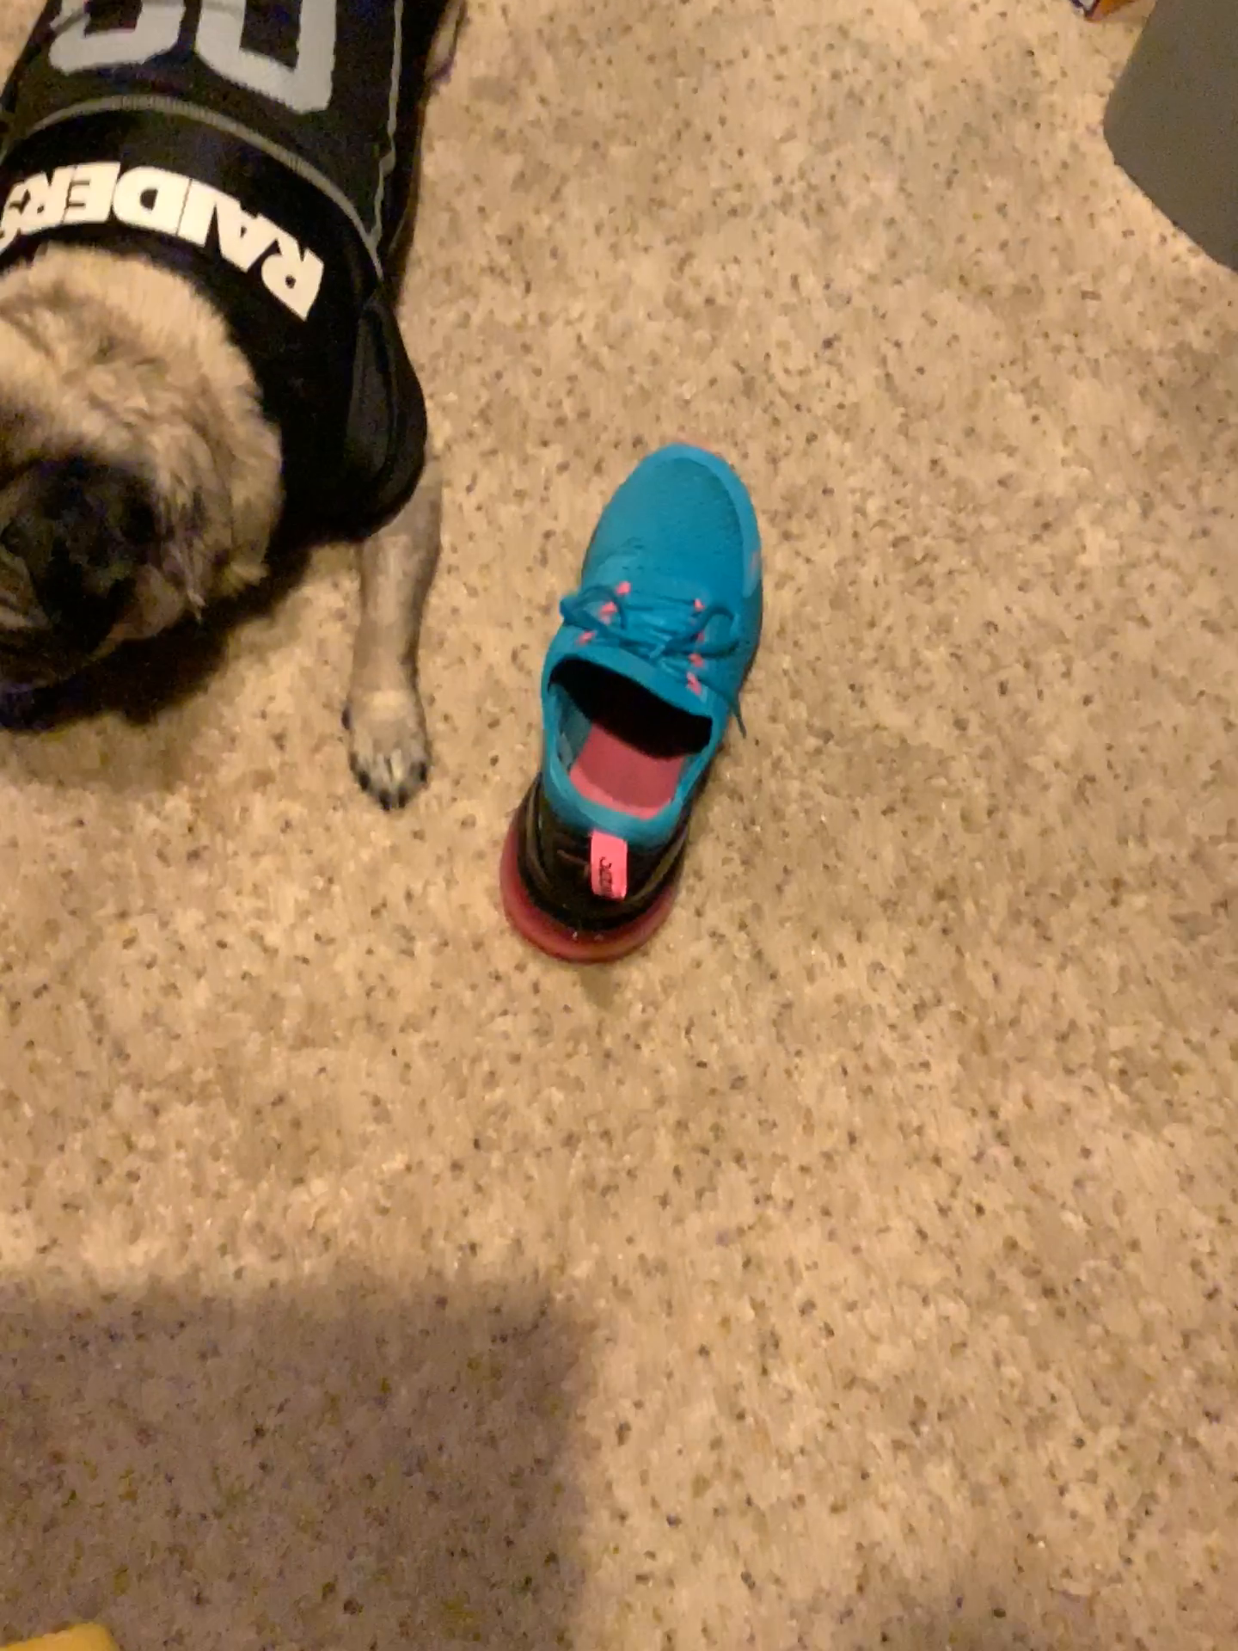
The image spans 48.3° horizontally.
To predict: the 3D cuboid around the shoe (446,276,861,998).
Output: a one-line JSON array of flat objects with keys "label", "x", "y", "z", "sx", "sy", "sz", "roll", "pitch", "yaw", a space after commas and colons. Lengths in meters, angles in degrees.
[{"label": "shoe", "x": 0.017, "y": -0.097, "z": 0.751, "sx": 0.130, "sy": 0.140, "sz": 0.340, "roll": 15, "pitch": 72, "yaw": -4}]
